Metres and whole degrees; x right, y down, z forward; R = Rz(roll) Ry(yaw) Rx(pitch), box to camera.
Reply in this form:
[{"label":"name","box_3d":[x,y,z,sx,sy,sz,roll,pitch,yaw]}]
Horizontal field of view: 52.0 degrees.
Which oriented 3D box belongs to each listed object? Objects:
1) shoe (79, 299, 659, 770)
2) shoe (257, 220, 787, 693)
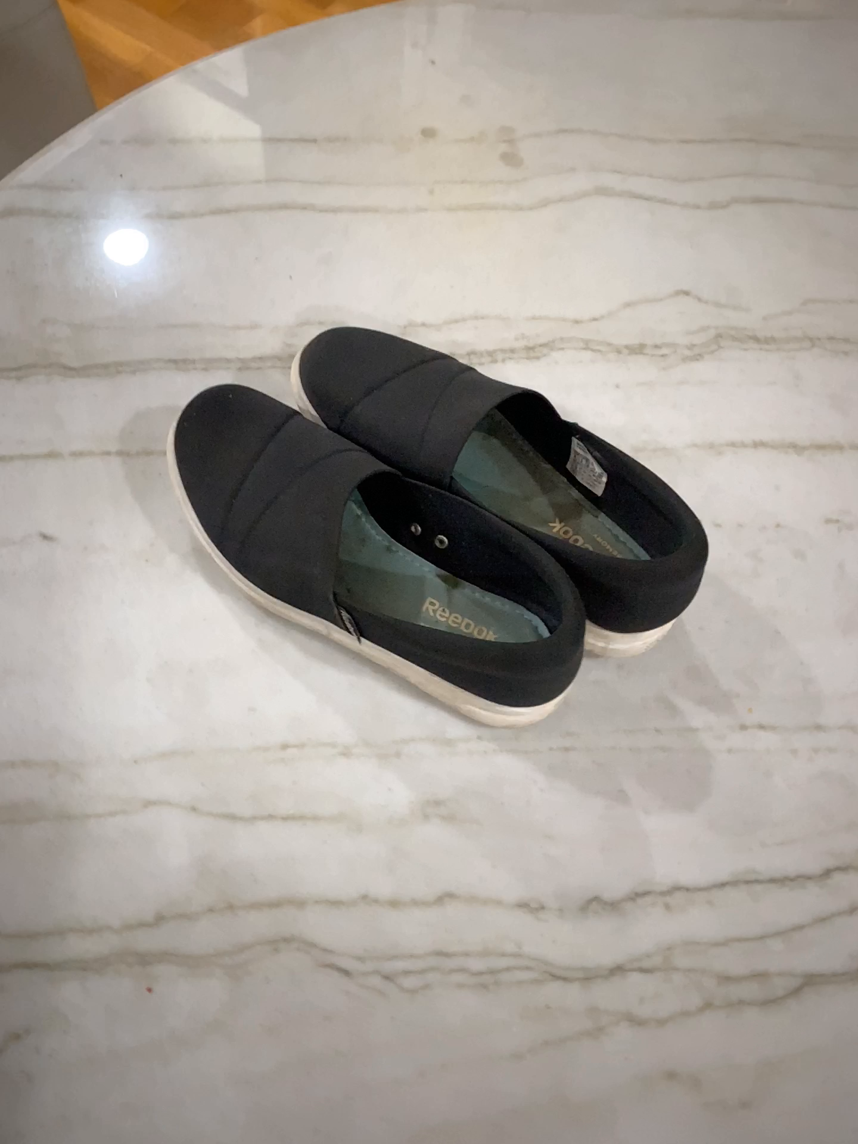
[{"label":"shoe","box_3d":[-0.028,-0.019,0.402,0.229,0.079,0.091,30,65,11]},{"label":"shoe","box_3d":[0.036,-0.059,0.427,0.229,0.079,0.091,38,67,15]}]
